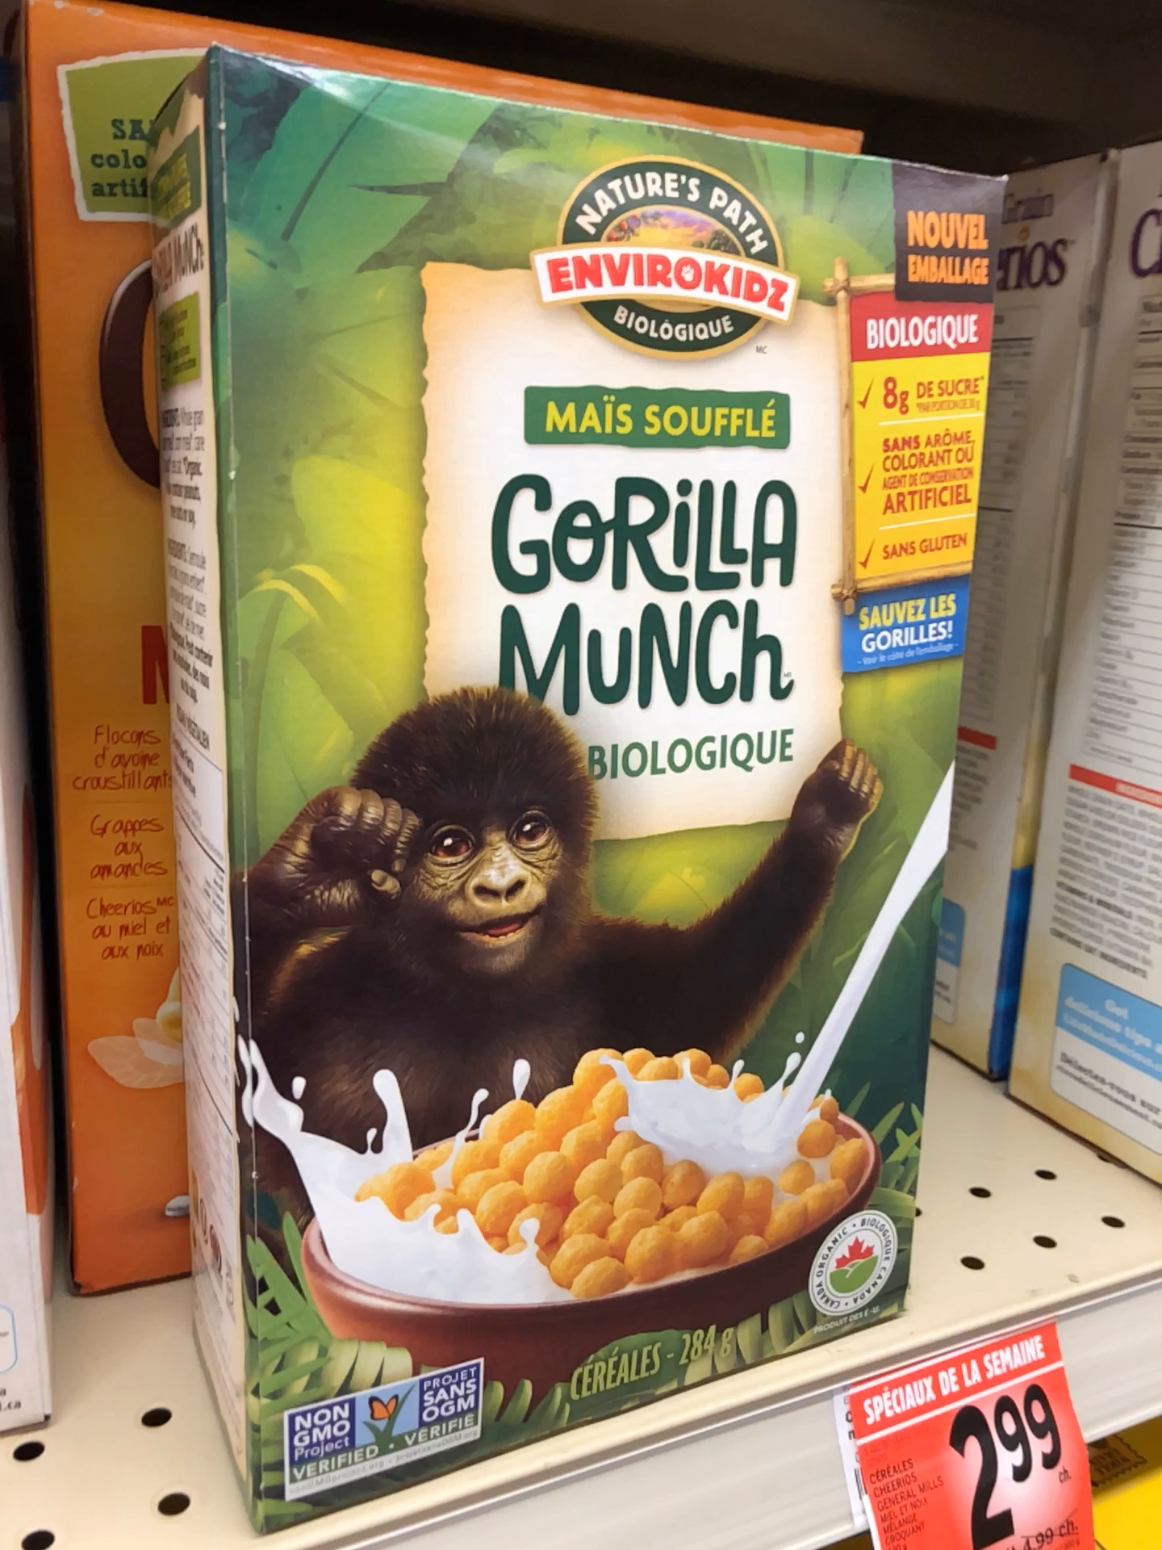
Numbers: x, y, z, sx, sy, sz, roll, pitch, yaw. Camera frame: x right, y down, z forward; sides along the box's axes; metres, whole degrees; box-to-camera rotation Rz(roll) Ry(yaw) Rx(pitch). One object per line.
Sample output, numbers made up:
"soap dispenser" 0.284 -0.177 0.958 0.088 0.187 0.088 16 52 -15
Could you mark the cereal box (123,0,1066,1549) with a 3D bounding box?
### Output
"cereal box" 0.000 0.005 0.264 0.160 0.259 0.060 -5 16 -27
